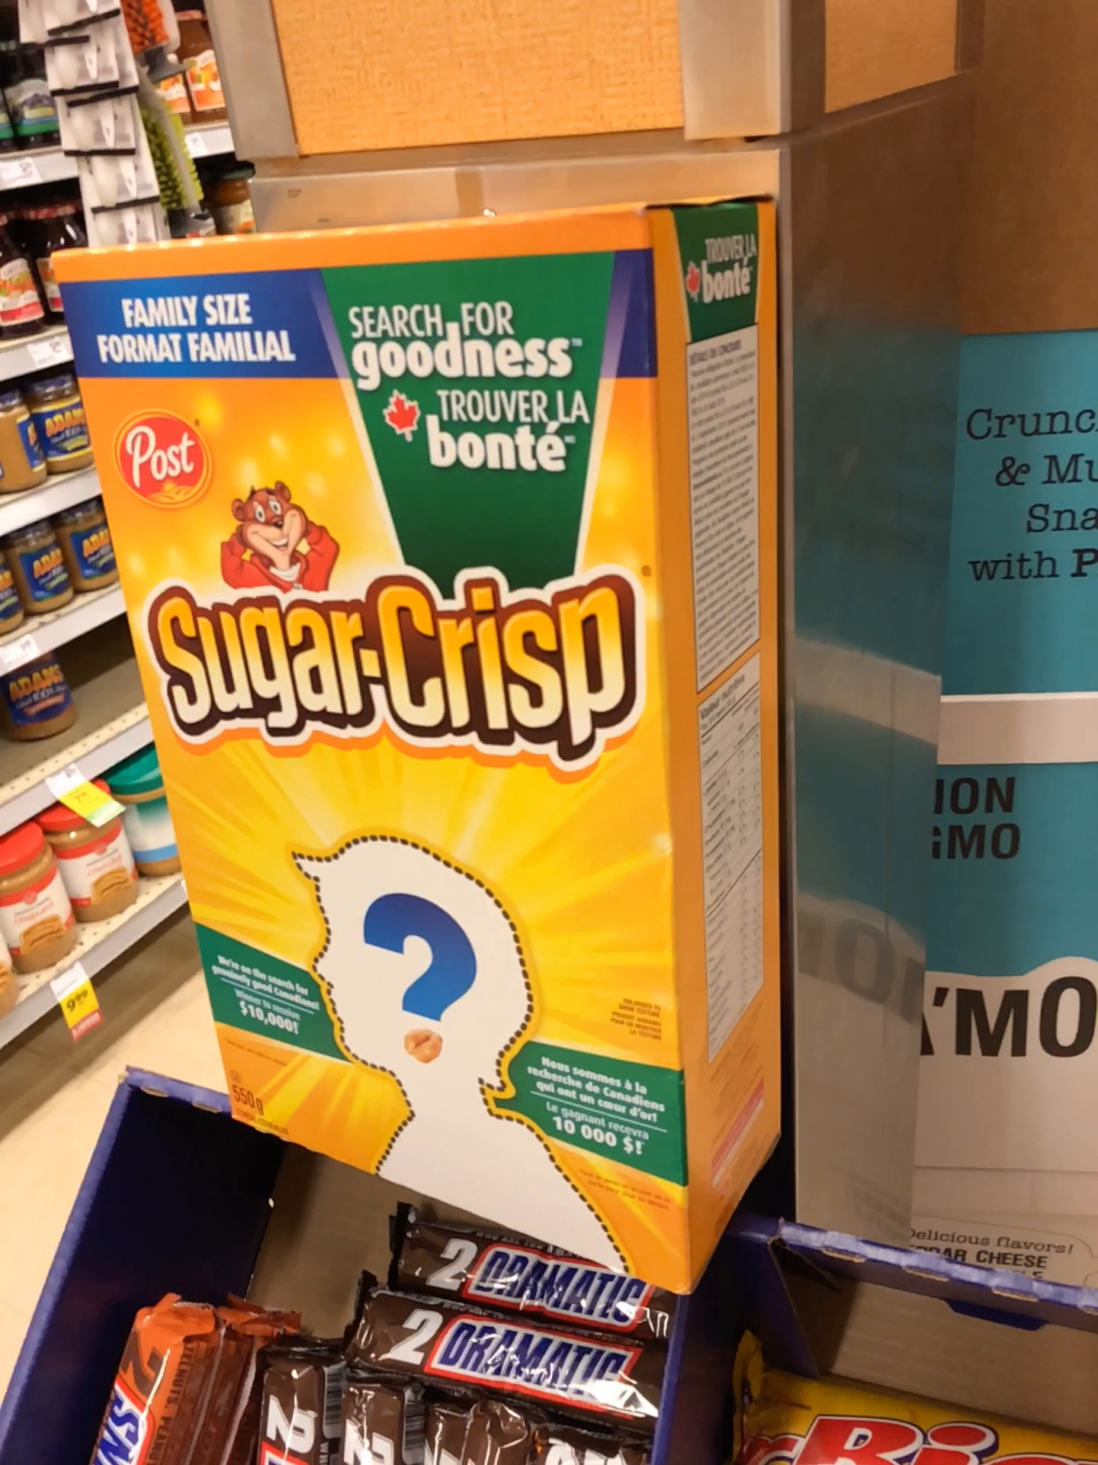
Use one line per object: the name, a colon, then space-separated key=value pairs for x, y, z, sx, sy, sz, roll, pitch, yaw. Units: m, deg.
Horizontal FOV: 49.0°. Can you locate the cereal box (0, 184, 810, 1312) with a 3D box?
cereal box: x=-0.040 y=0.000 z=0.378 sx=0.220 sy=0.298 sz=0.080 roll=9 pitch=25 yaw=29
